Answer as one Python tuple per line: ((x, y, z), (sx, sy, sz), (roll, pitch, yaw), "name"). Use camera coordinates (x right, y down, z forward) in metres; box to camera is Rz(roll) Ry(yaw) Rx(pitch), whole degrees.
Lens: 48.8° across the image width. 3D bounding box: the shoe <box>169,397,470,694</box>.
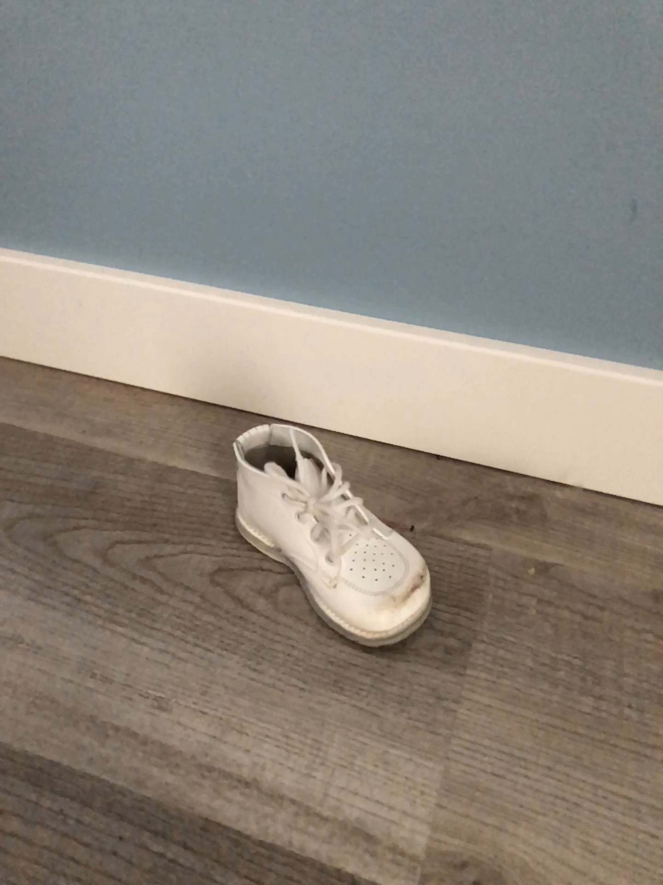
((-0.011, 0.045, 0.376), (0.060, 0.060, 0.150), (-33, 50, -32), "shoe")
